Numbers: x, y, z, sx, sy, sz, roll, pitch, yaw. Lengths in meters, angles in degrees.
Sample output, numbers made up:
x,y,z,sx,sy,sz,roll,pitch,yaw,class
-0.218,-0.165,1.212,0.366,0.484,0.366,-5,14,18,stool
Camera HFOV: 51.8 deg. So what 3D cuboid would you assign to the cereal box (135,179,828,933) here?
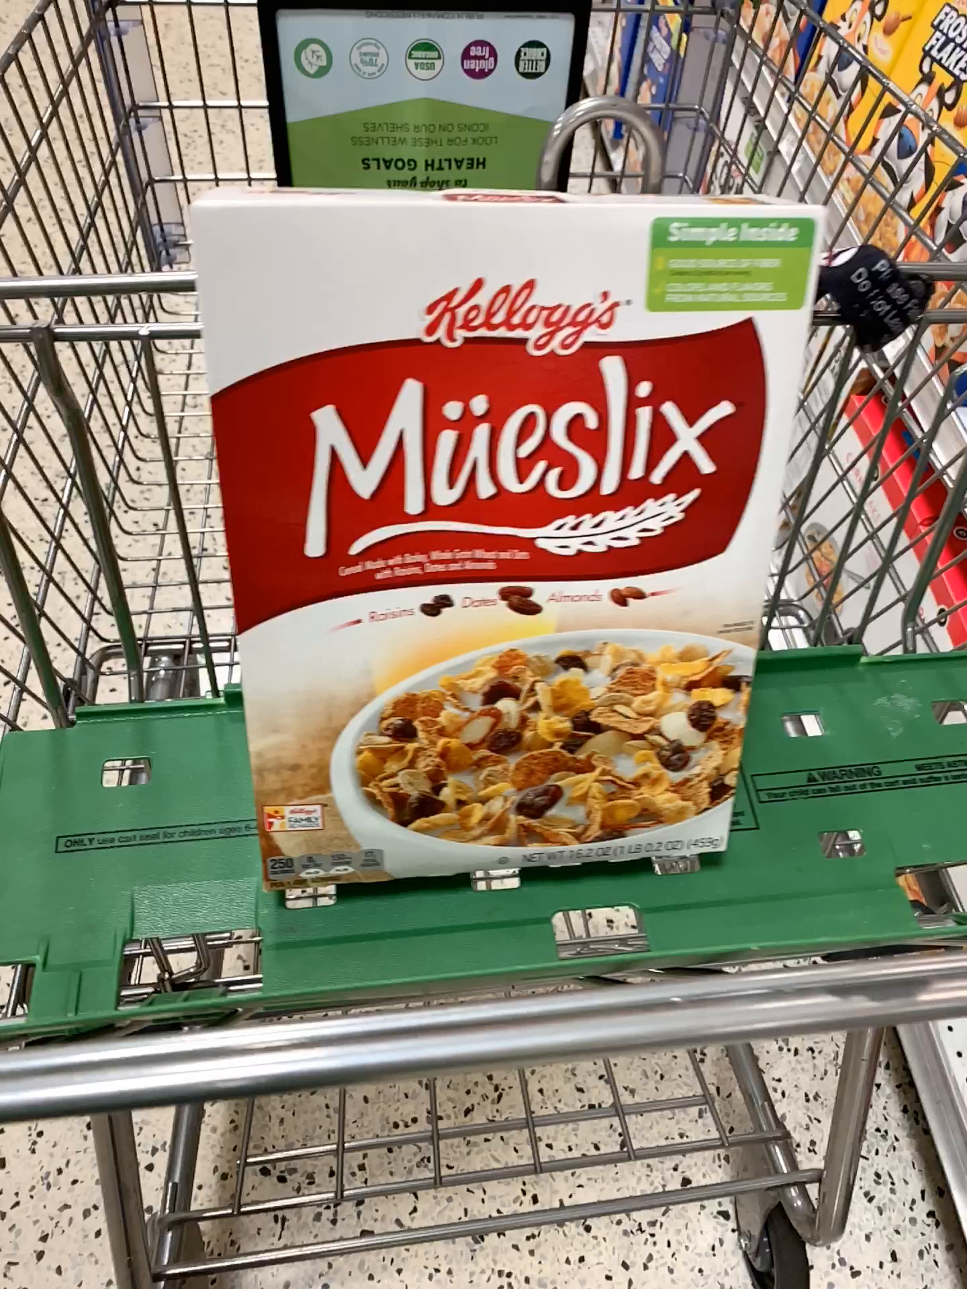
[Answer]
x,y,z,sx,sy,sz,roll,pitch,yaw,class
-0.003,-0.024,0.373,0.200,0.268,0.060,-3,28,-8,cereal box
